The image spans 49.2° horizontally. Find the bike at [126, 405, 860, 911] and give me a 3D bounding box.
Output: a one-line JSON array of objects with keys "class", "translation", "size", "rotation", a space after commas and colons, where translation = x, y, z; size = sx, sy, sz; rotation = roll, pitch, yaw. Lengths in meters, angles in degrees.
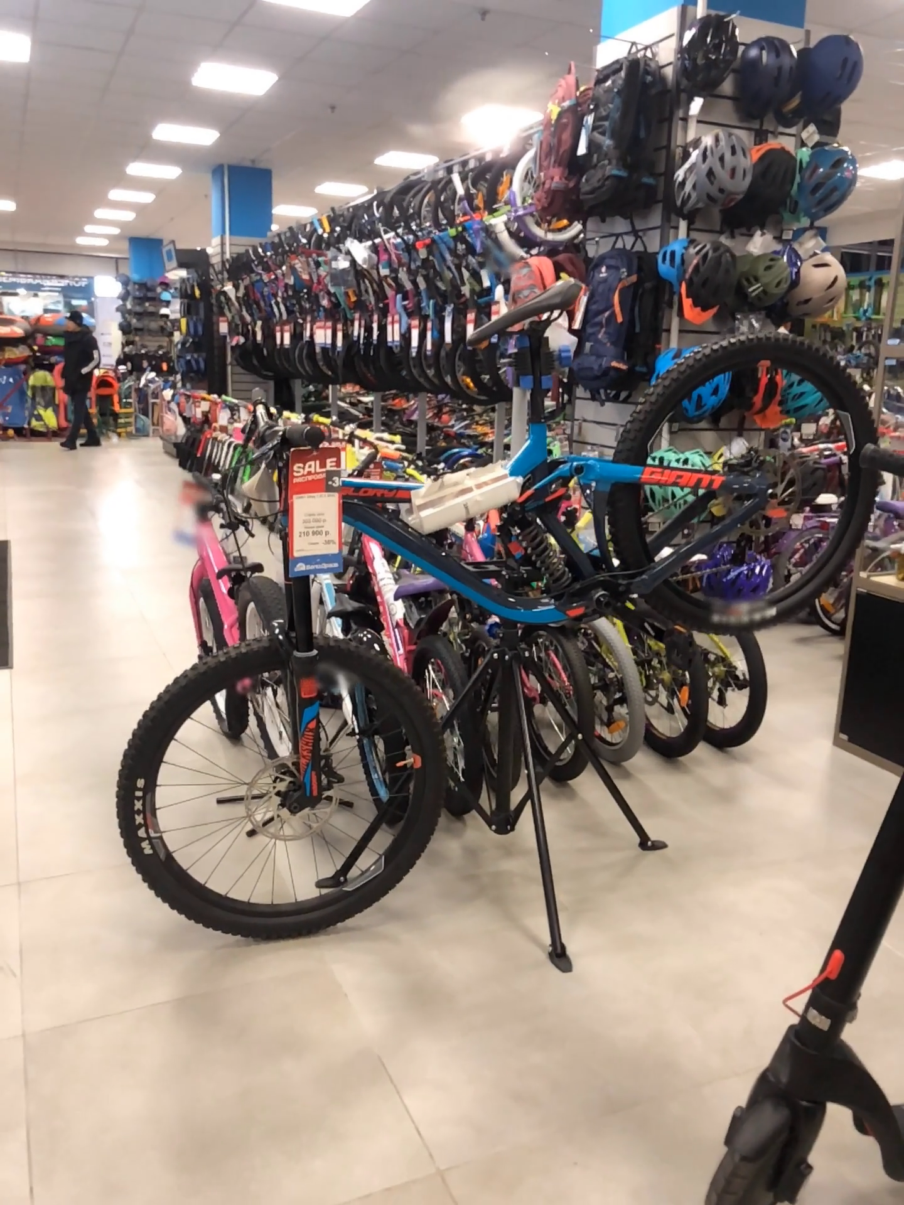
[{"class": "bike", "translation": [0.002, 0.028, 2.129], "size": [1.522, 0.182, 0.661], "rotation": [-27, 19, -6]}]
